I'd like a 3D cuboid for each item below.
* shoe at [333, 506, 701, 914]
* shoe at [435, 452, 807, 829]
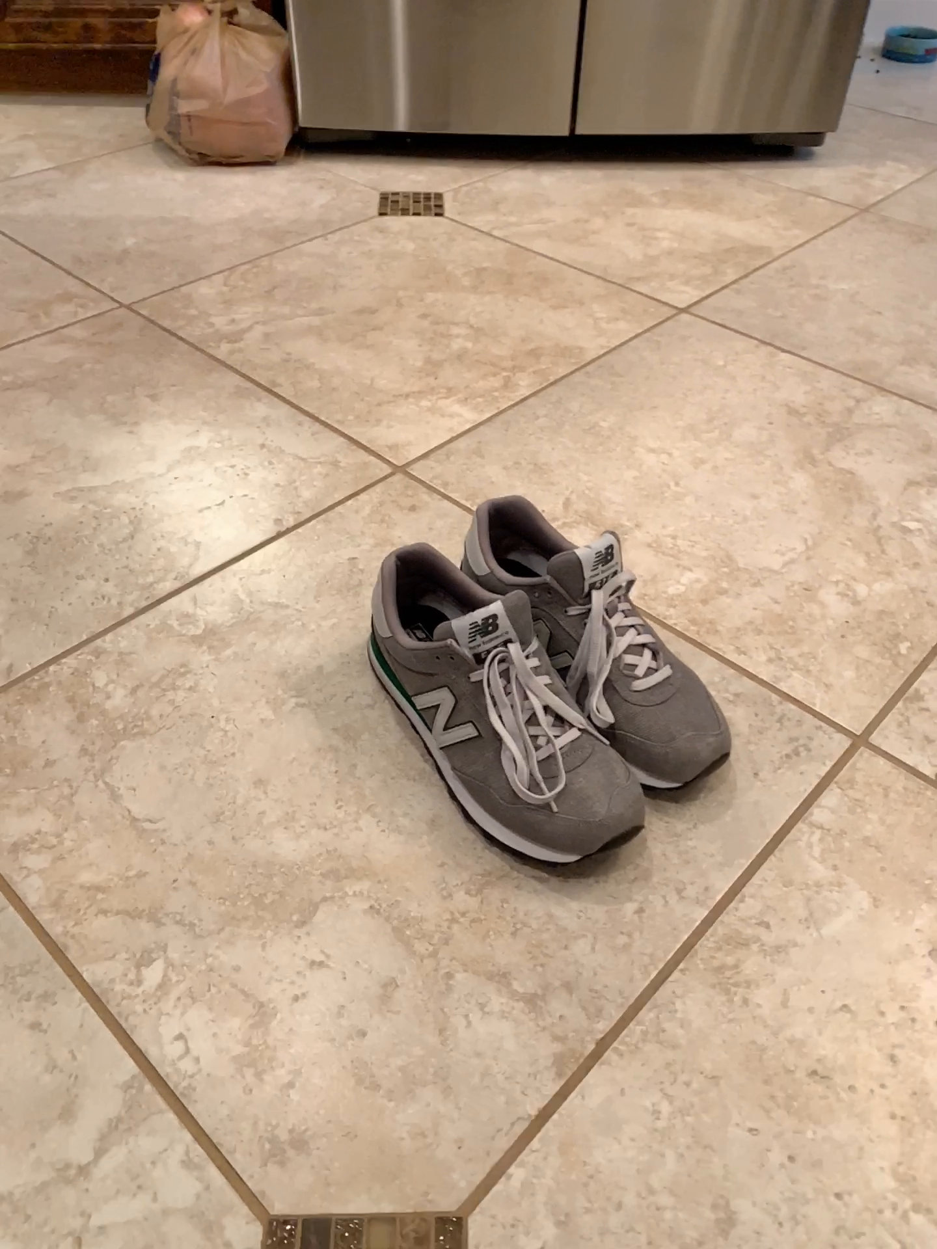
[{"bbox_3d":[0.020,0.046,0.683,0.115,0.103,0.275,-23,49,-23],"label":"shoe"},{"bbox_3d":[0.097,-0.003,0.728,0.115,0.103,0.285,-23,49,-23],"label":"shoe"}]
